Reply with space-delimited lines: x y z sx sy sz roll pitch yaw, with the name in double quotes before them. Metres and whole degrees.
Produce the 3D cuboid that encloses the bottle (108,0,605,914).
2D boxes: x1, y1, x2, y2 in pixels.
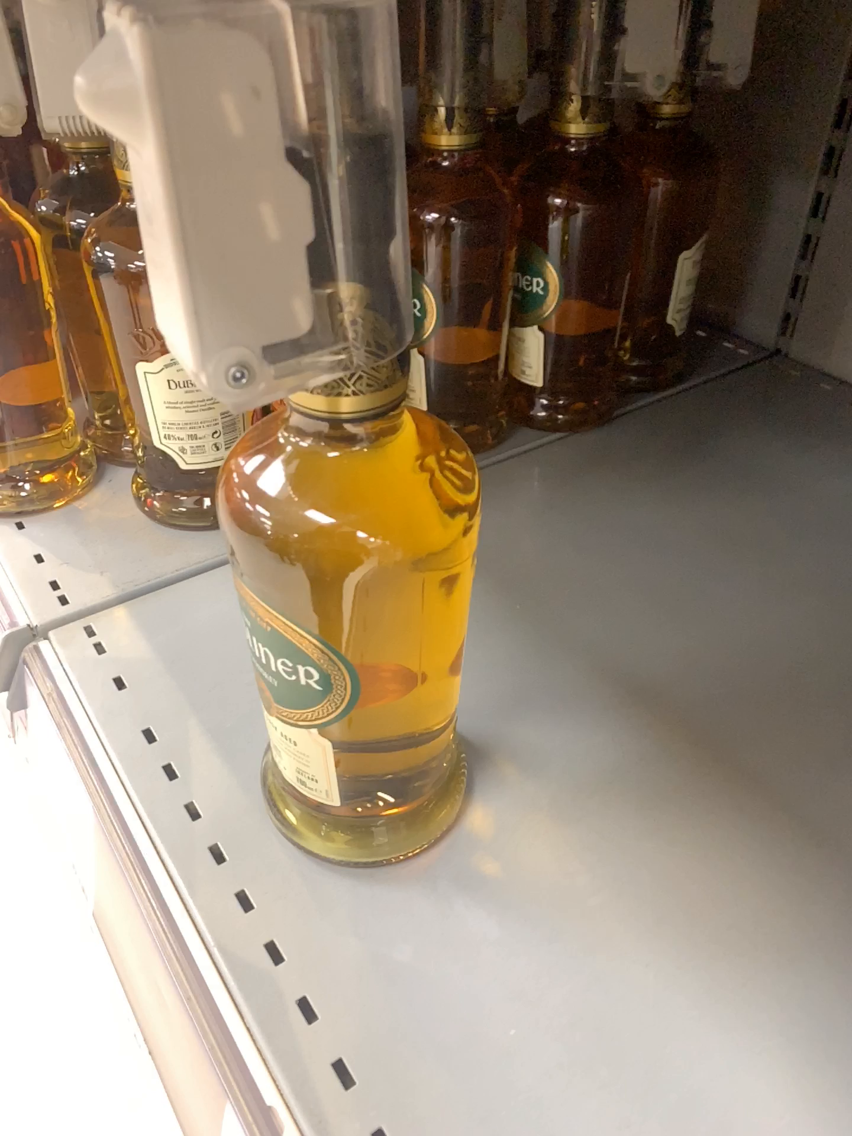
"bottle" -0.022 -0.019 0.291 0.090 0.283 0.089 0 37 0
